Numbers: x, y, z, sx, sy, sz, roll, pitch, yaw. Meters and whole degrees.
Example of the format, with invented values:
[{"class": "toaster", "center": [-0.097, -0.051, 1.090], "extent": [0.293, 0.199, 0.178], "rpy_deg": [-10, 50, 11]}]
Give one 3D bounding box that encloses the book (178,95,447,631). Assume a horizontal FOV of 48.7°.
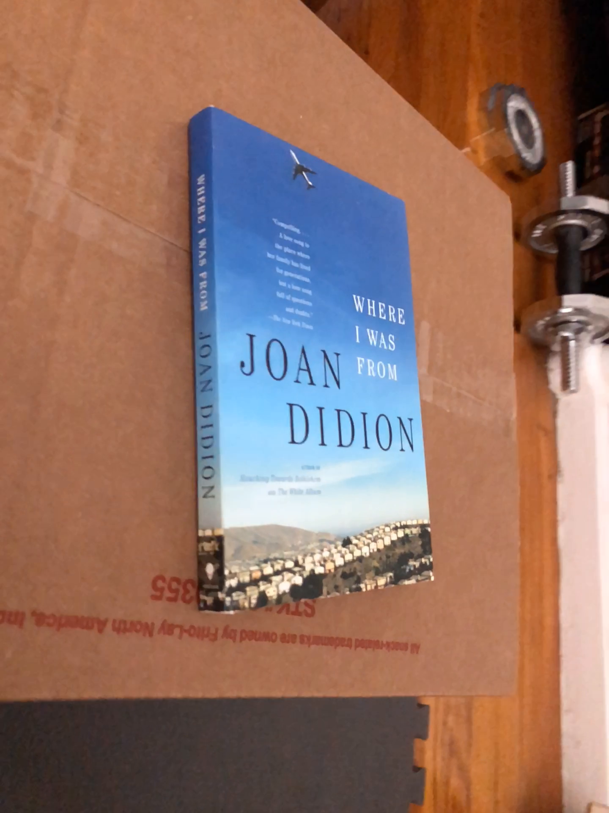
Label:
[{"class": "book", "center": [0.008, -0.016, 0.312], "extent": [0.141, 0.020, 0.210], "rpy_deg": [7, 75, -45]}]
